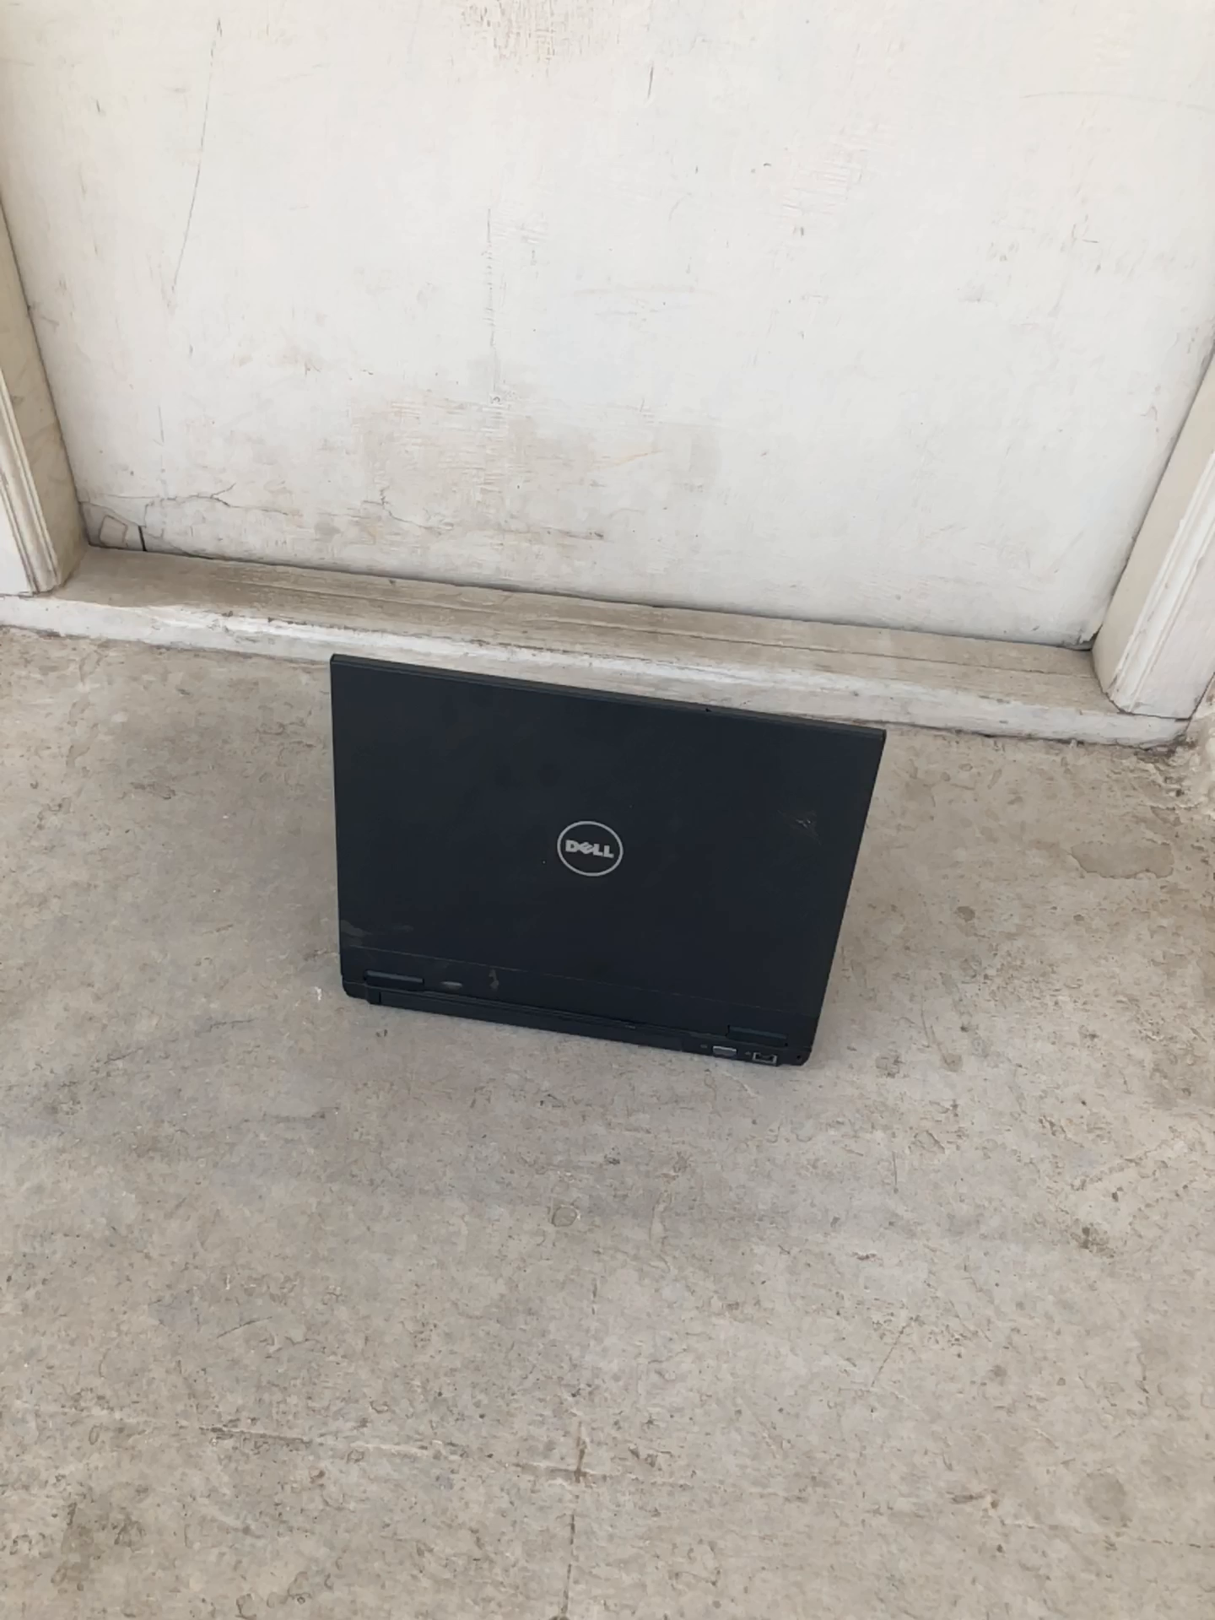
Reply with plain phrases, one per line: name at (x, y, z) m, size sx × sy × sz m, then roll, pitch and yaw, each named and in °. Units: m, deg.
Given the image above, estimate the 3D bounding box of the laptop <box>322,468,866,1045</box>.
laptop at (-0.002, -0.033, 0.864) m, size 0.279 × 0.251 × 0.225 m, roll 8°, pitch 47°, yaw 4°
